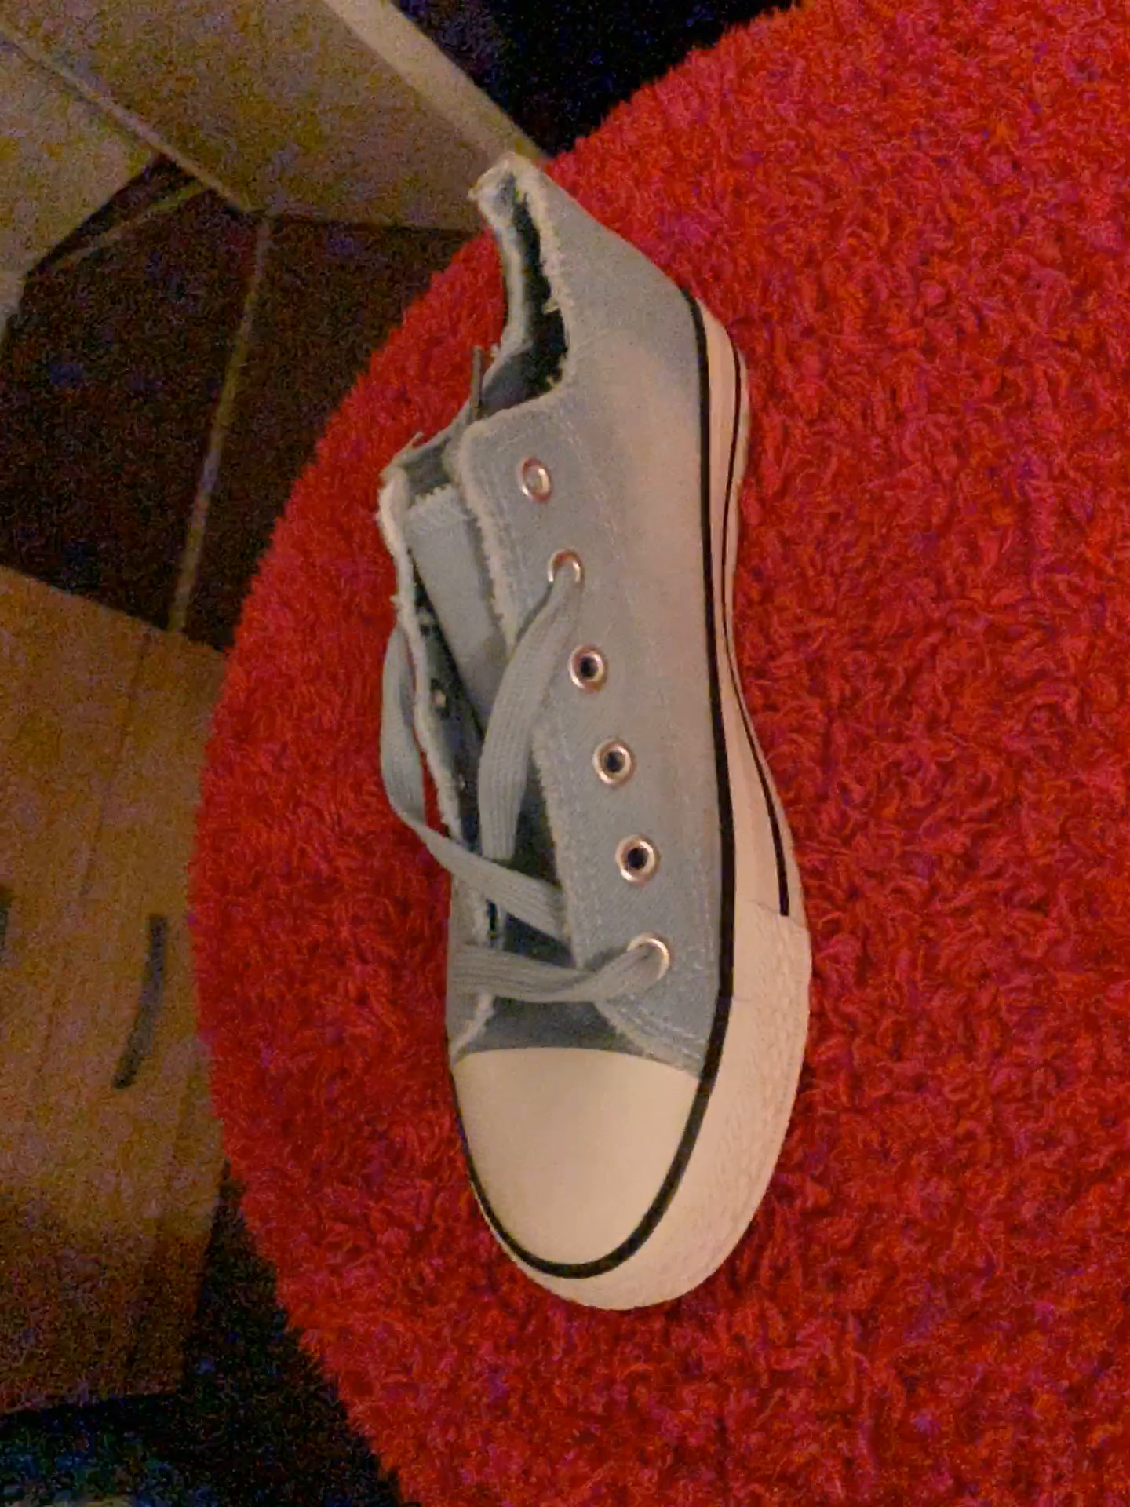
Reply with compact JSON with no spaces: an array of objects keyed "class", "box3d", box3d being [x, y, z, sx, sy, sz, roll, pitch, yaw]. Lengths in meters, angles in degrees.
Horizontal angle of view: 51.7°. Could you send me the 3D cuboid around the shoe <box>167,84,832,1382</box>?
[{"class":"shoe","box3d":[-0.006,-0.006,0.271,0.097,0.087,0.250,-13,65,37]}]
